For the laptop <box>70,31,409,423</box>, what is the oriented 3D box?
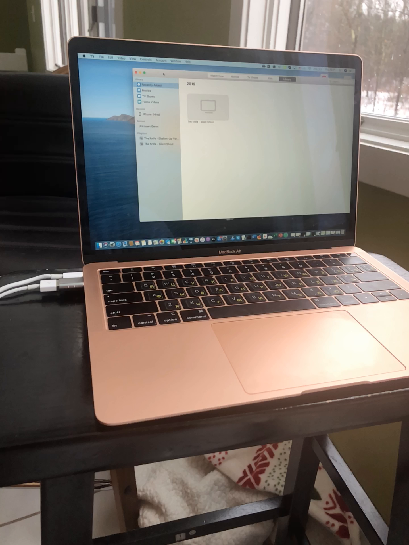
[{"bbox_3d":[0.053,-0.074,0.369,0.298,0.196,0.265,-4,27,-16],"label":"laptop"}]
